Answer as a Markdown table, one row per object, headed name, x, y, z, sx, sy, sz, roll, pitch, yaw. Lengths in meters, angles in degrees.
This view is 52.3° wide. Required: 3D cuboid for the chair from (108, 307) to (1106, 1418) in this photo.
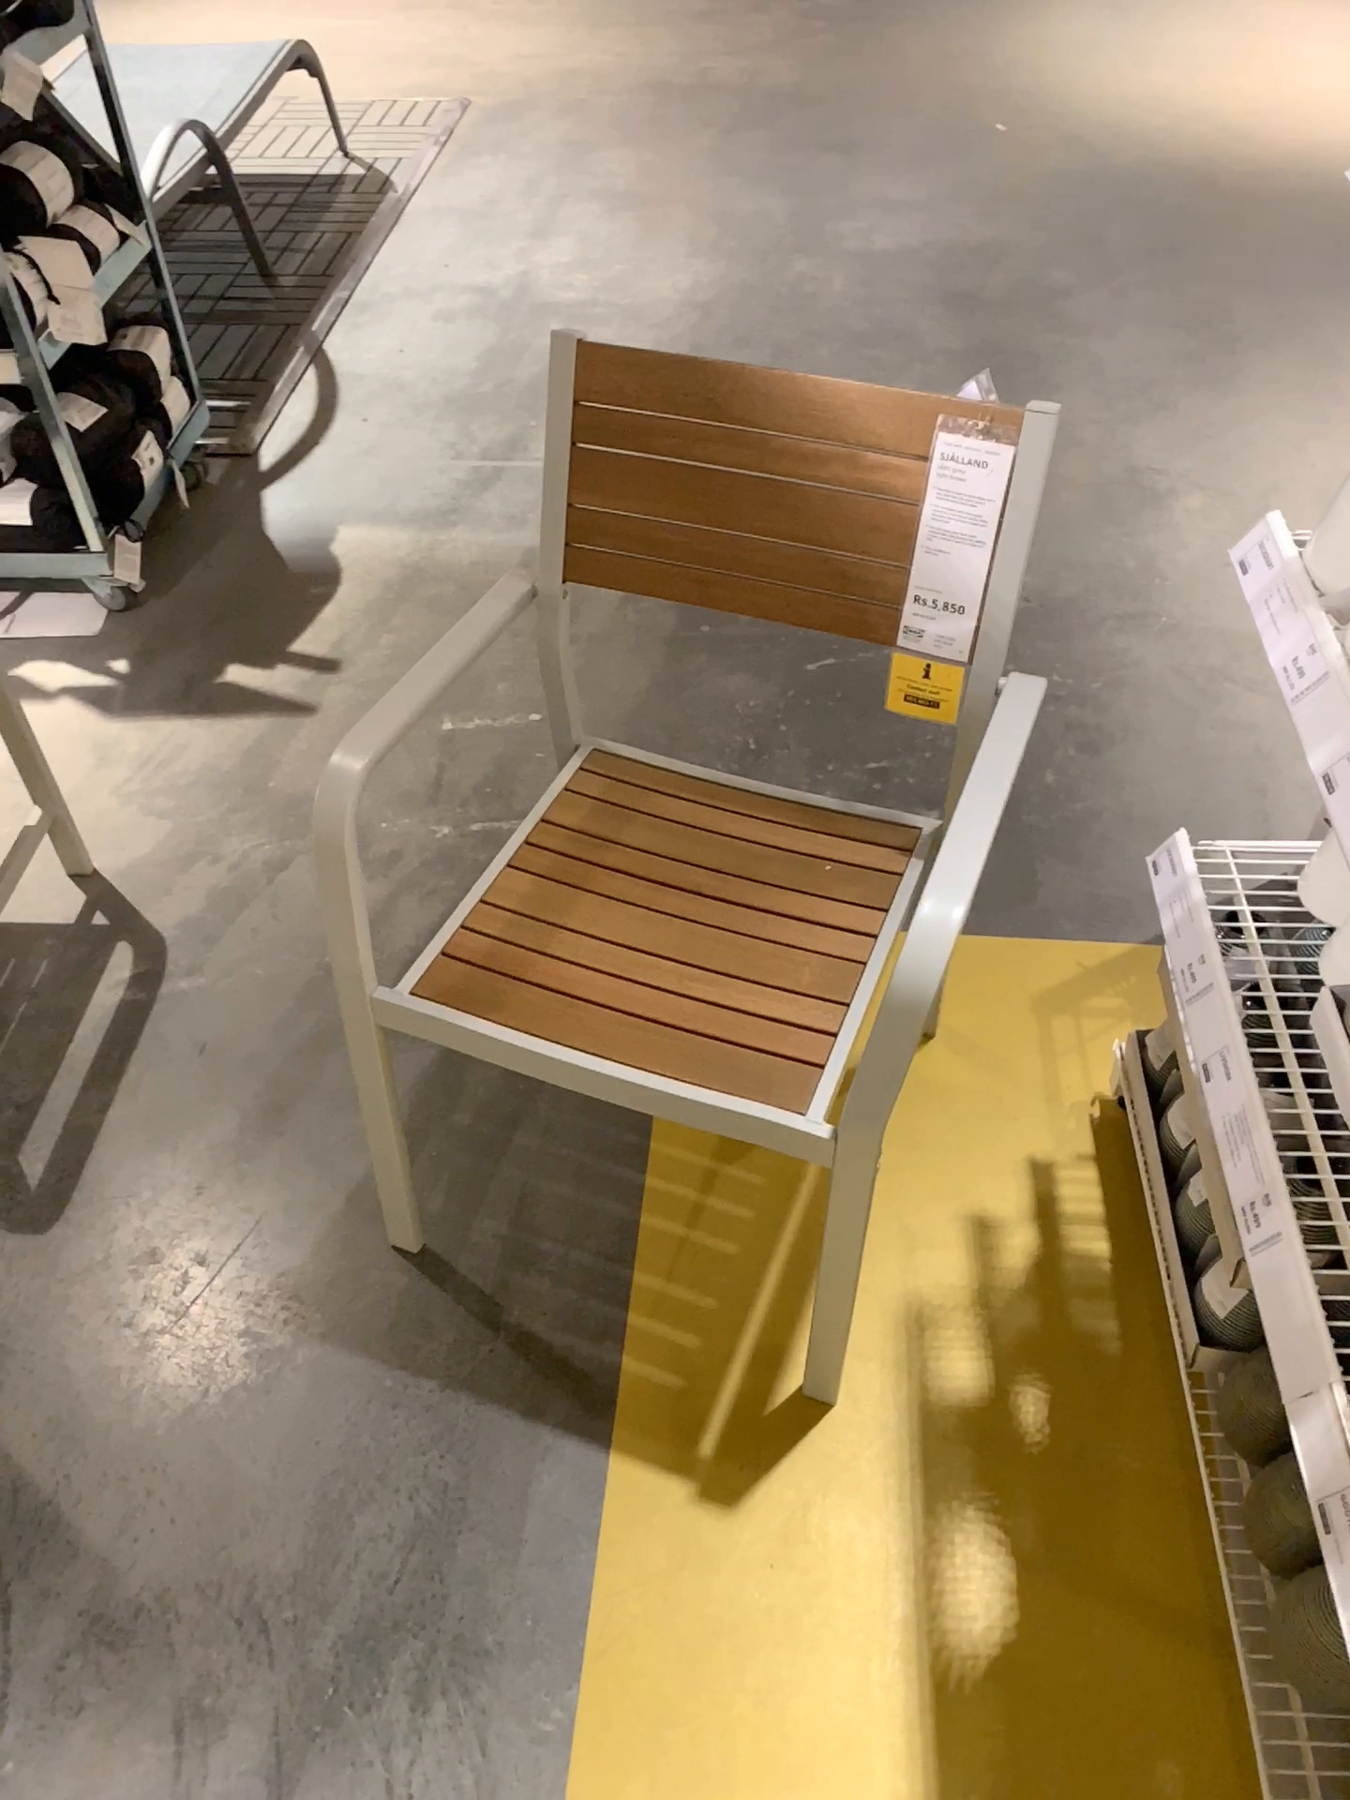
| name | x | y | z | sx | sy | sz | roll | pitch | yaw |
| --- | --- | --- | --- | --- | --- | --- | --- | --- | --- |
| chair | -0.001 | -0.042 | 1.304 | 0.561 | 0.727 | 0.602 | 16 | 48 | 17 |
